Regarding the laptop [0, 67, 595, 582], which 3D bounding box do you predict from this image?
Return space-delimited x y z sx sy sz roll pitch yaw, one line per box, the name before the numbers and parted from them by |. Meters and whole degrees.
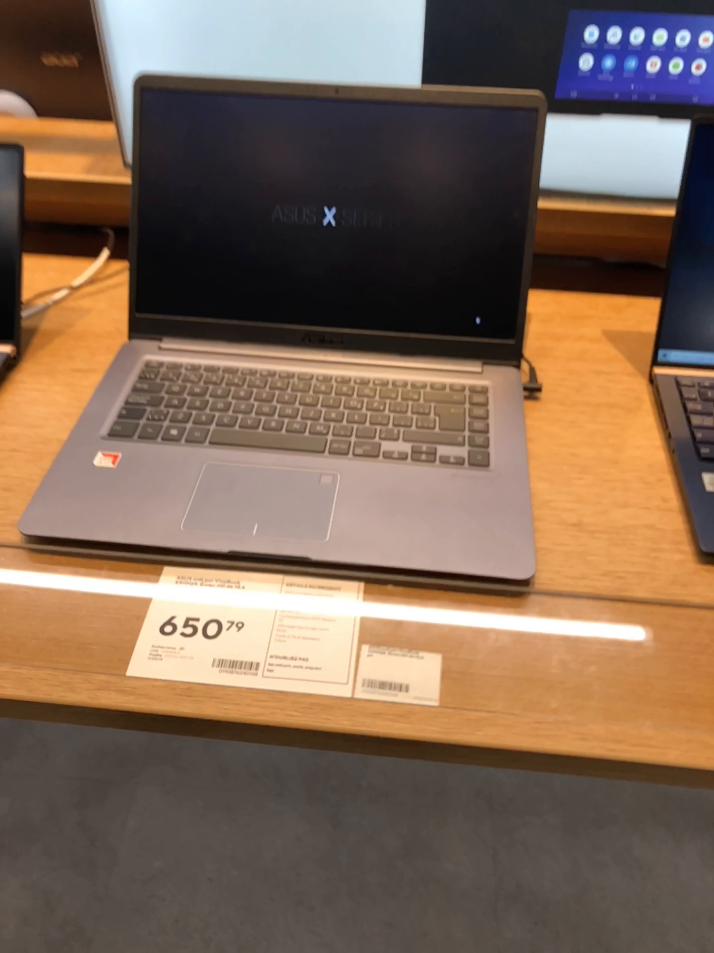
laptop | -0.036 -0.147 0.609 0.352 0.177 0.392 5 44 4
